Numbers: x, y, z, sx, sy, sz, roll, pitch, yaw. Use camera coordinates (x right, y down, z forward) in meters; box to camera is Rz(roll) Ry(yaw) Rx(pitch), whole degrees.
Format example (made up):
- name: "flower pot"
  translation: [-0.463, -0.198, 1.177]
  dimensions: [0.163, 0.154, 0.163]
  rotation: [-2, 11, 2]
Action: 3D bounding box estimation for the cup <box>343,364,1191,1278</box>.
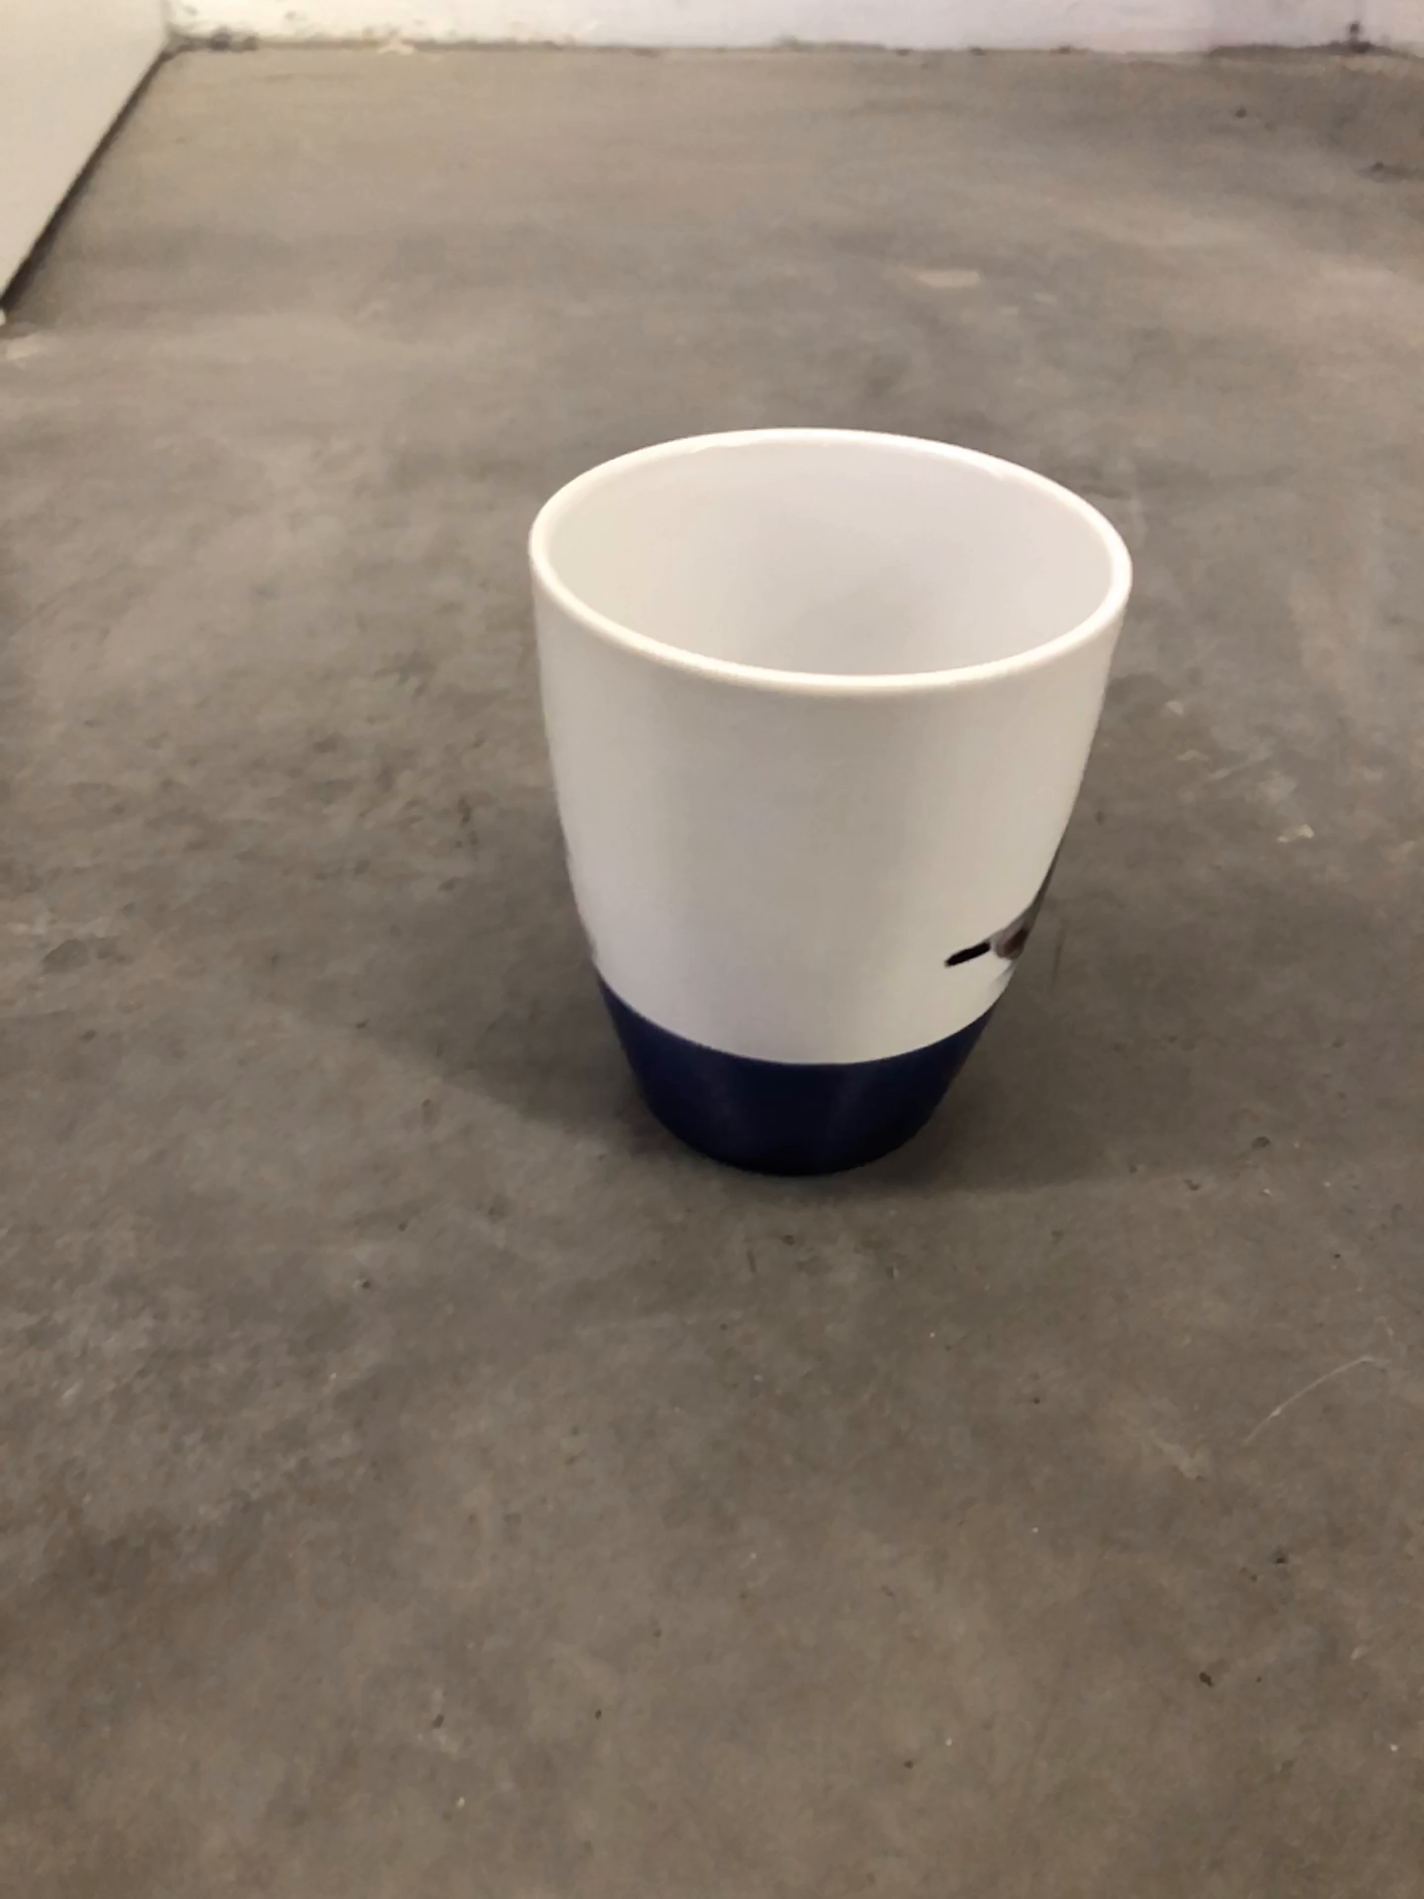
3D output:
- name: "cup"
  translation: [0.015, -0.031, 0.284]
  dimensions: [0.111, 0.098, 0.128]
  rotation: [8, 38, 7]
